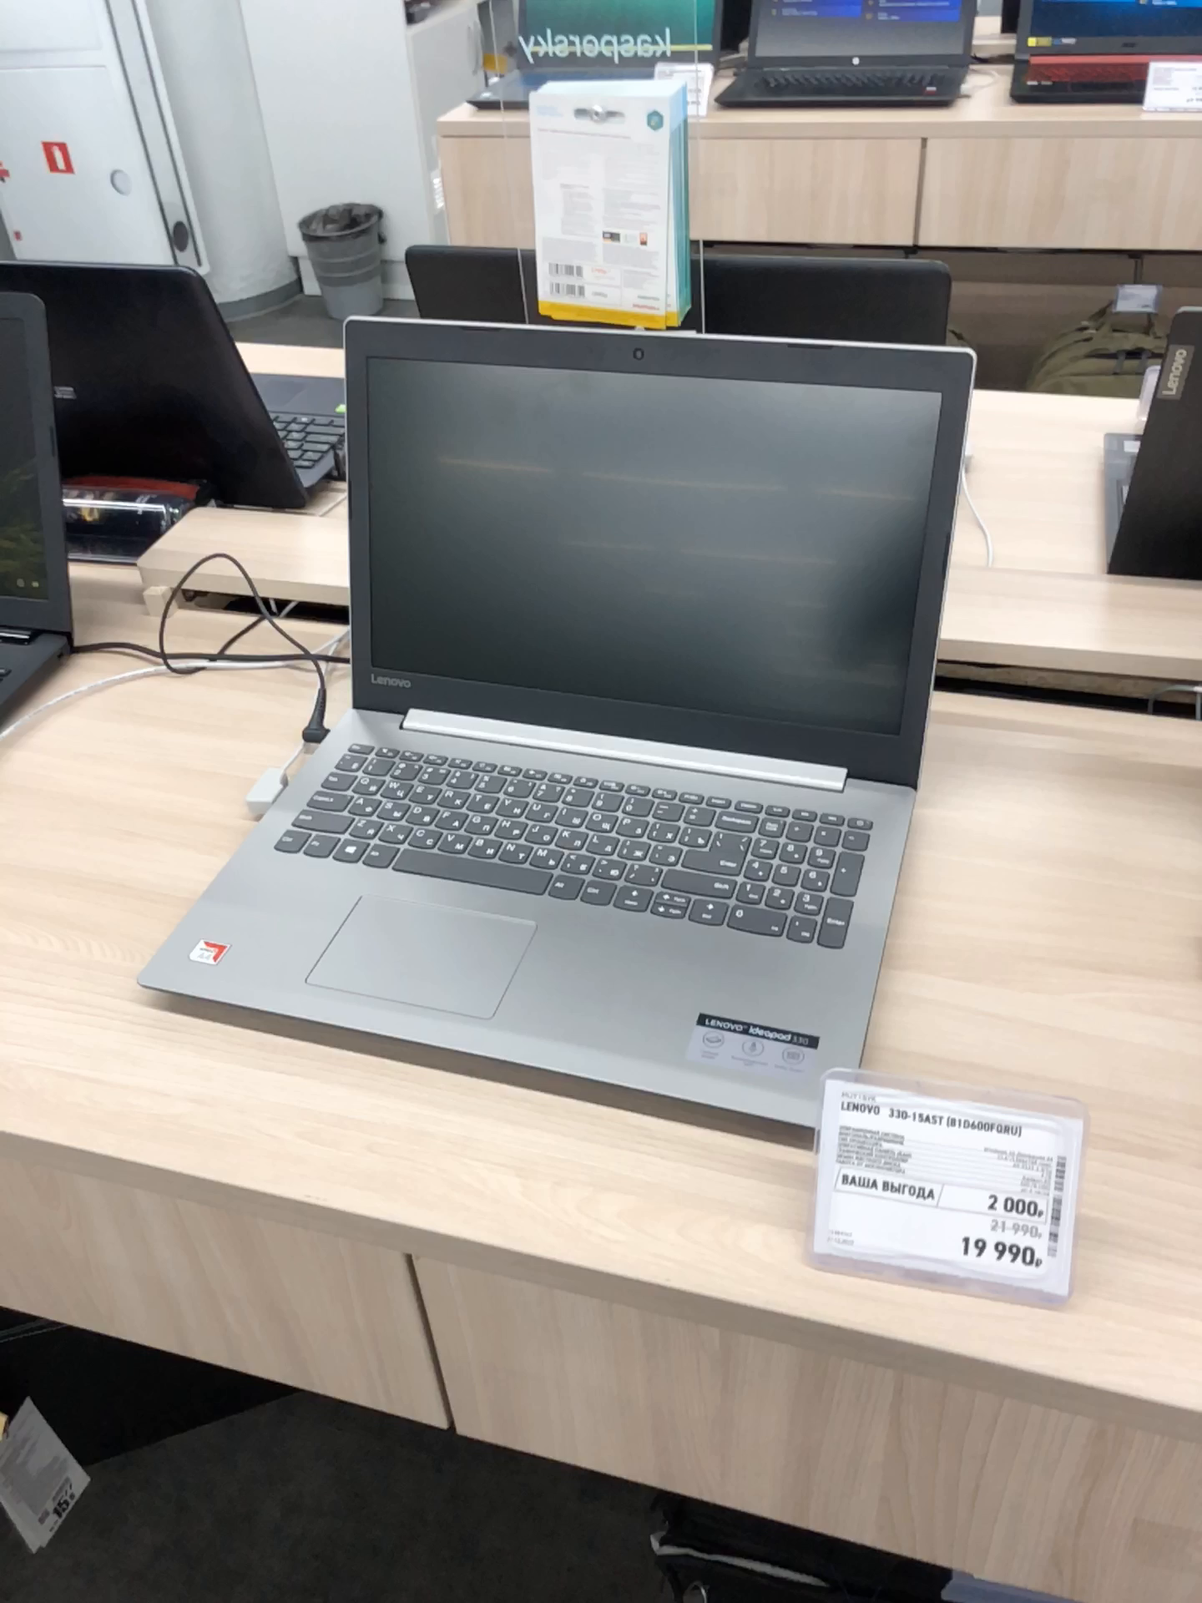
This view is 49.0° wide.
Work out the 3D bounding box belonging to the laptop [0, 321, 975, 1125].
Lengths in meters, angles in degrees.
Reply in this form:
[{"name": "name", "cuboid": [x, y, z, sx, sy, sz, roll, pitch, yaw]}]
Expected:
[{"name": "laptop", "cuboid": [-0.022, -0.075, 0.717, 0.380, 0.235, 0.345, 8, 40, 16]}]
